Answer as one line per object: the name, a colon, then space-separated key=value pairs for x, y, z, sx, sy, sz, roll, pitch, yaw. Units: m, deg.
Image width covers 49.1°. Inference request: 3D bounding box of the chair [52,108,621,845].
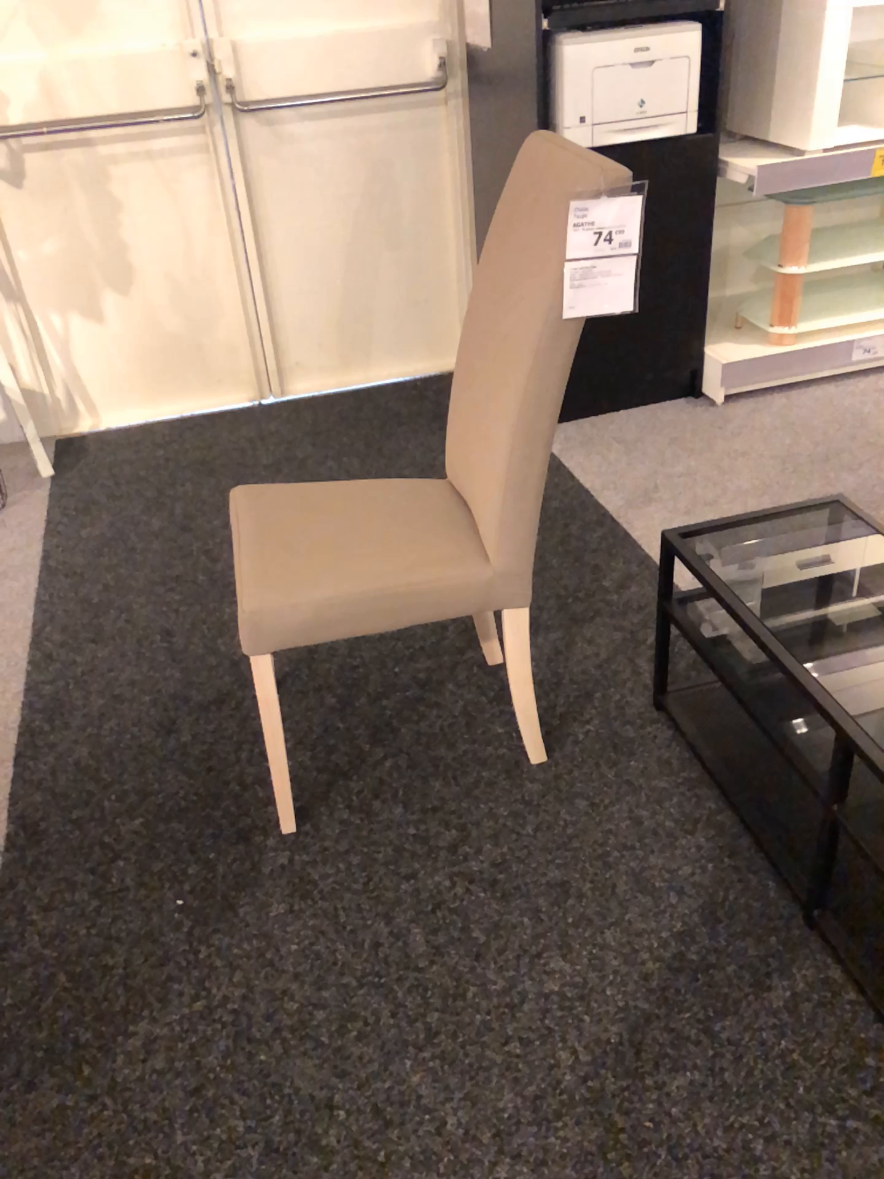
chair: x=-0.125 y=-0.184 z=1.540 sx=0.631 sy=0.945 sz=0.533 roll=-9 pitch=33 yaw=-8
